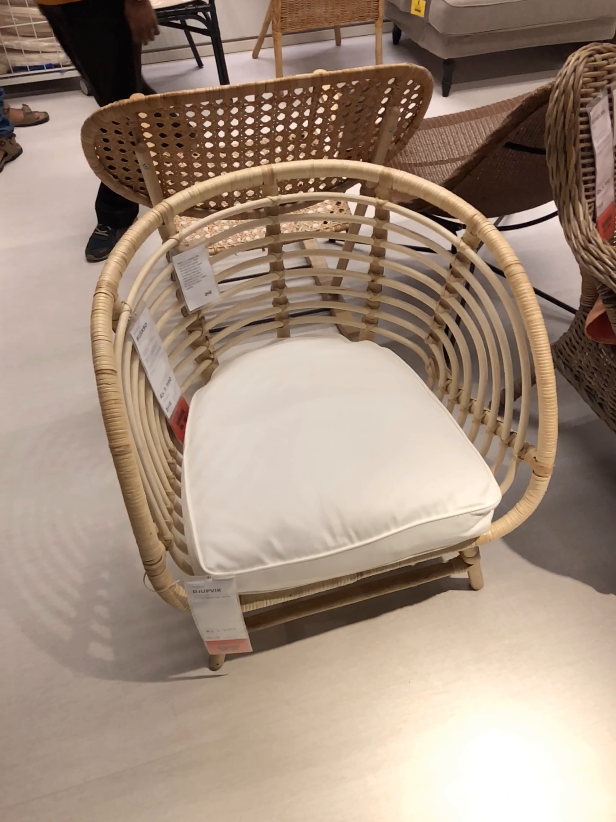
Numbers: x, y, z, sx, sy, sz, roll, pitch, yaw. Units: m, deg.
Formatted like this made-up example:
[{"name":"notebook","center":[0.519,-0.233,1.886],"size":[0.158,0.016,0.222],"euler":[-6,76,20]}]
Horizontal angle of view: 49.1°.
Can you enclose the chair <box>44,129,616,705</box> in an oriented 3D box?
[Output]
[{"name":"chair","center":[-0.021,0.009,1.387],"size":[0.780,0.775,0.704],"euler":[-12,48,-9]}]
